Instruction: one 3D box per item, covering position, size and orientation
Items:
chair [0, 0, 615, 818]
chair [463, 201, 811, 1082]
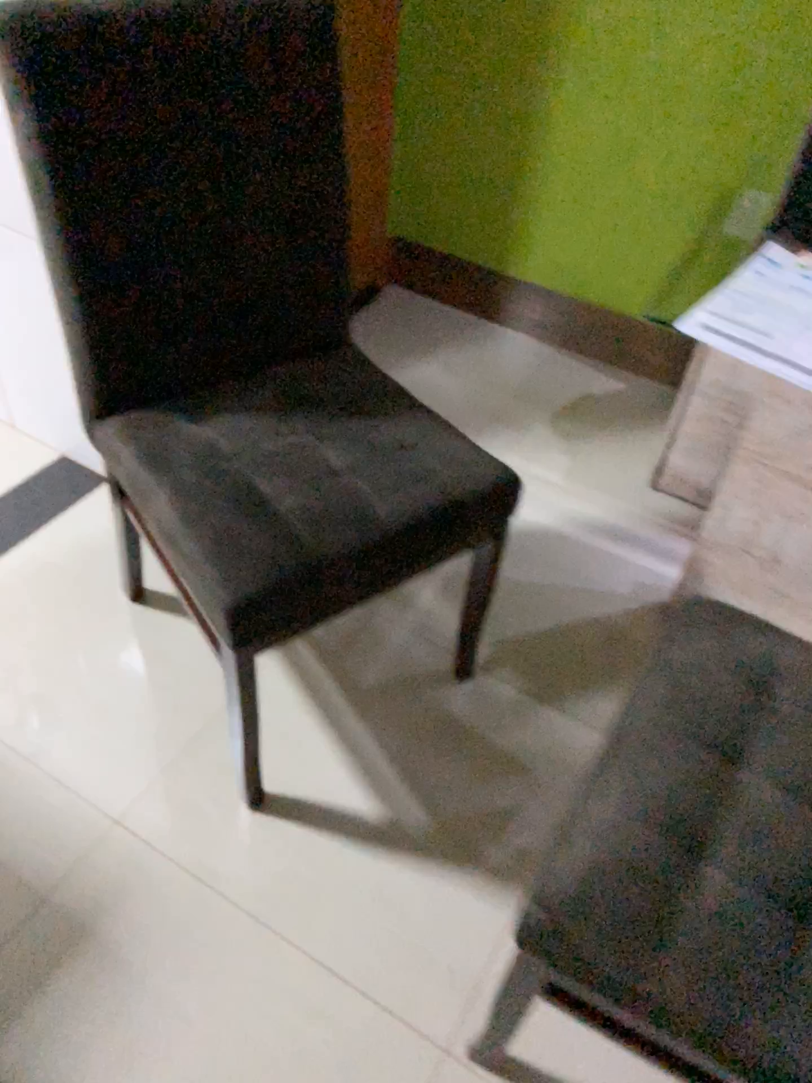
[{"bbox_3d":[-0.191,-0.181,1.243,0.492,0.981,0.572,-25,52,-29],"label":"chair"},{"bbox_3d":[0.493,0.303,0.838,0.571,0.971,0.524,26,47,19],"label":"chair"}]
